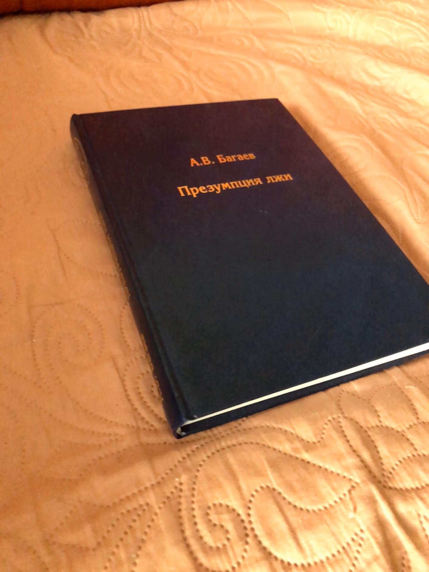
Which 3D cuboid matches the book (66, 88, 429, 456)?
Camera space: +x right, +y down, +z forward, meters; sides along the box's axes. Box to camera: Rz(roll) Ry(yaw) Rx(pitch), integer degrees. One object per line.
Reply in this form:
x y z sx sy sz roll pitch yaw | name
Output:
0.018 -0.044 0.325 0.180 0.030 0.261 -13 56 -19 | book
